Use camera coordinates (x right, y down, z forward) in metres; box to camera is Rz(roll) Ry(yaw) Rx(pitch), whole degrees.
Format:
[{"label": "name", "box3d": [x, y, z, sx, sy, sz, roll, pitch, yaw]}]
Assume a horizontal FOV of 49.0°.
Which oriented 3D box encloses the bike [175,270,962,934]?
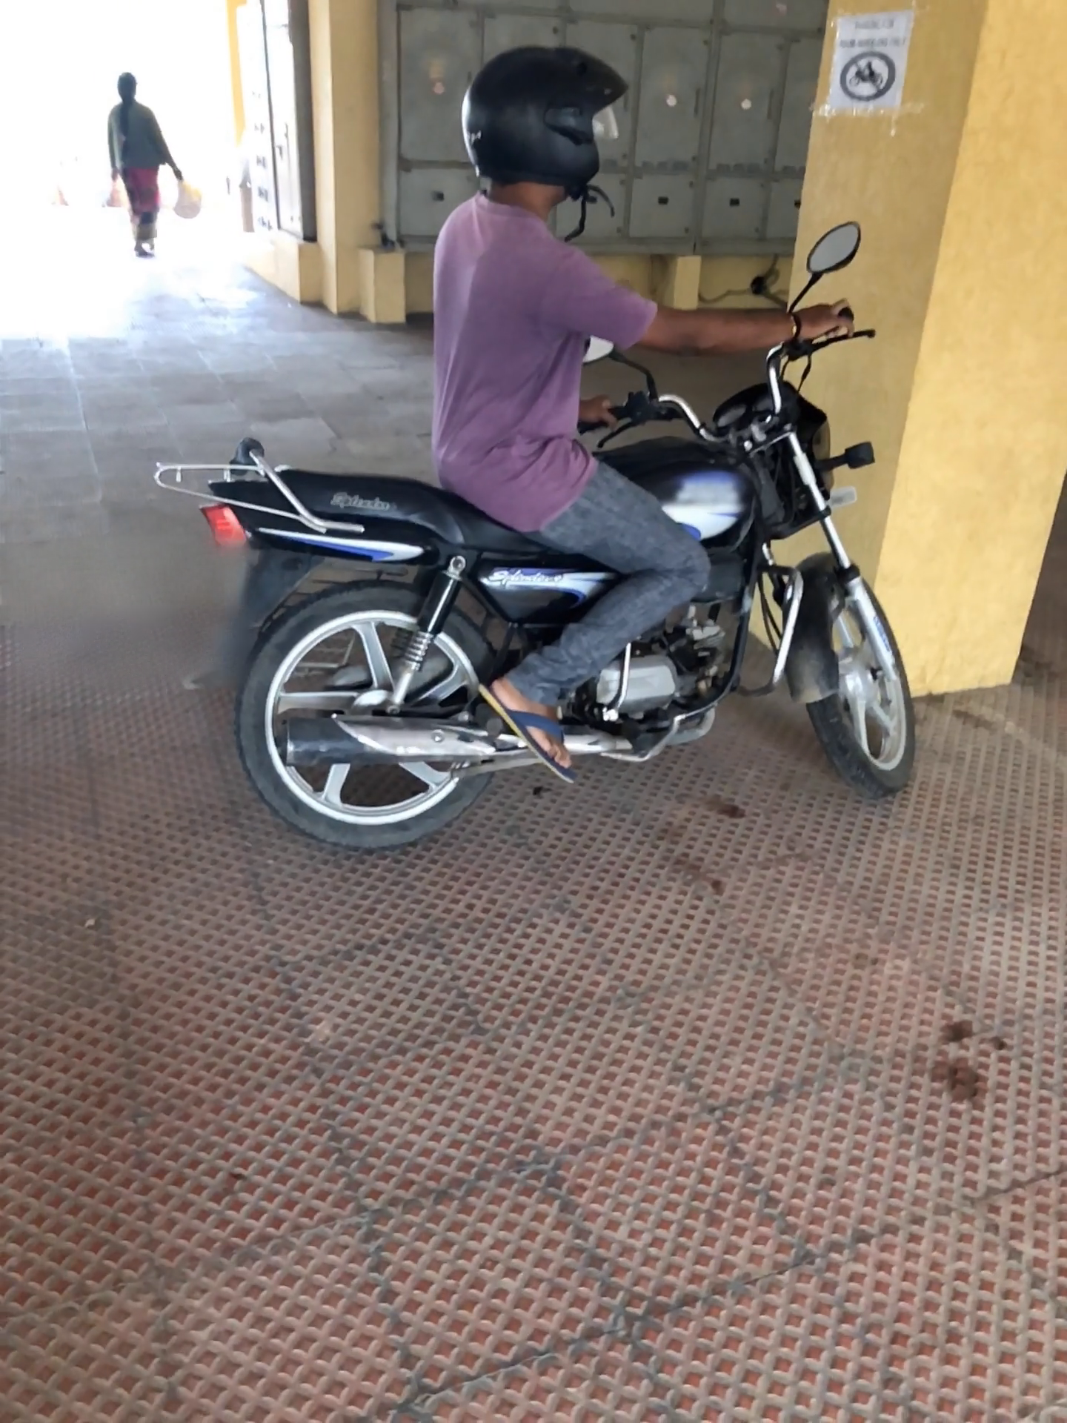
[{"label": "bike", "box3d": [0.037, -0.316, 2.765, 1.544, 1.194, 0.769, -6, 29, -21]}]
